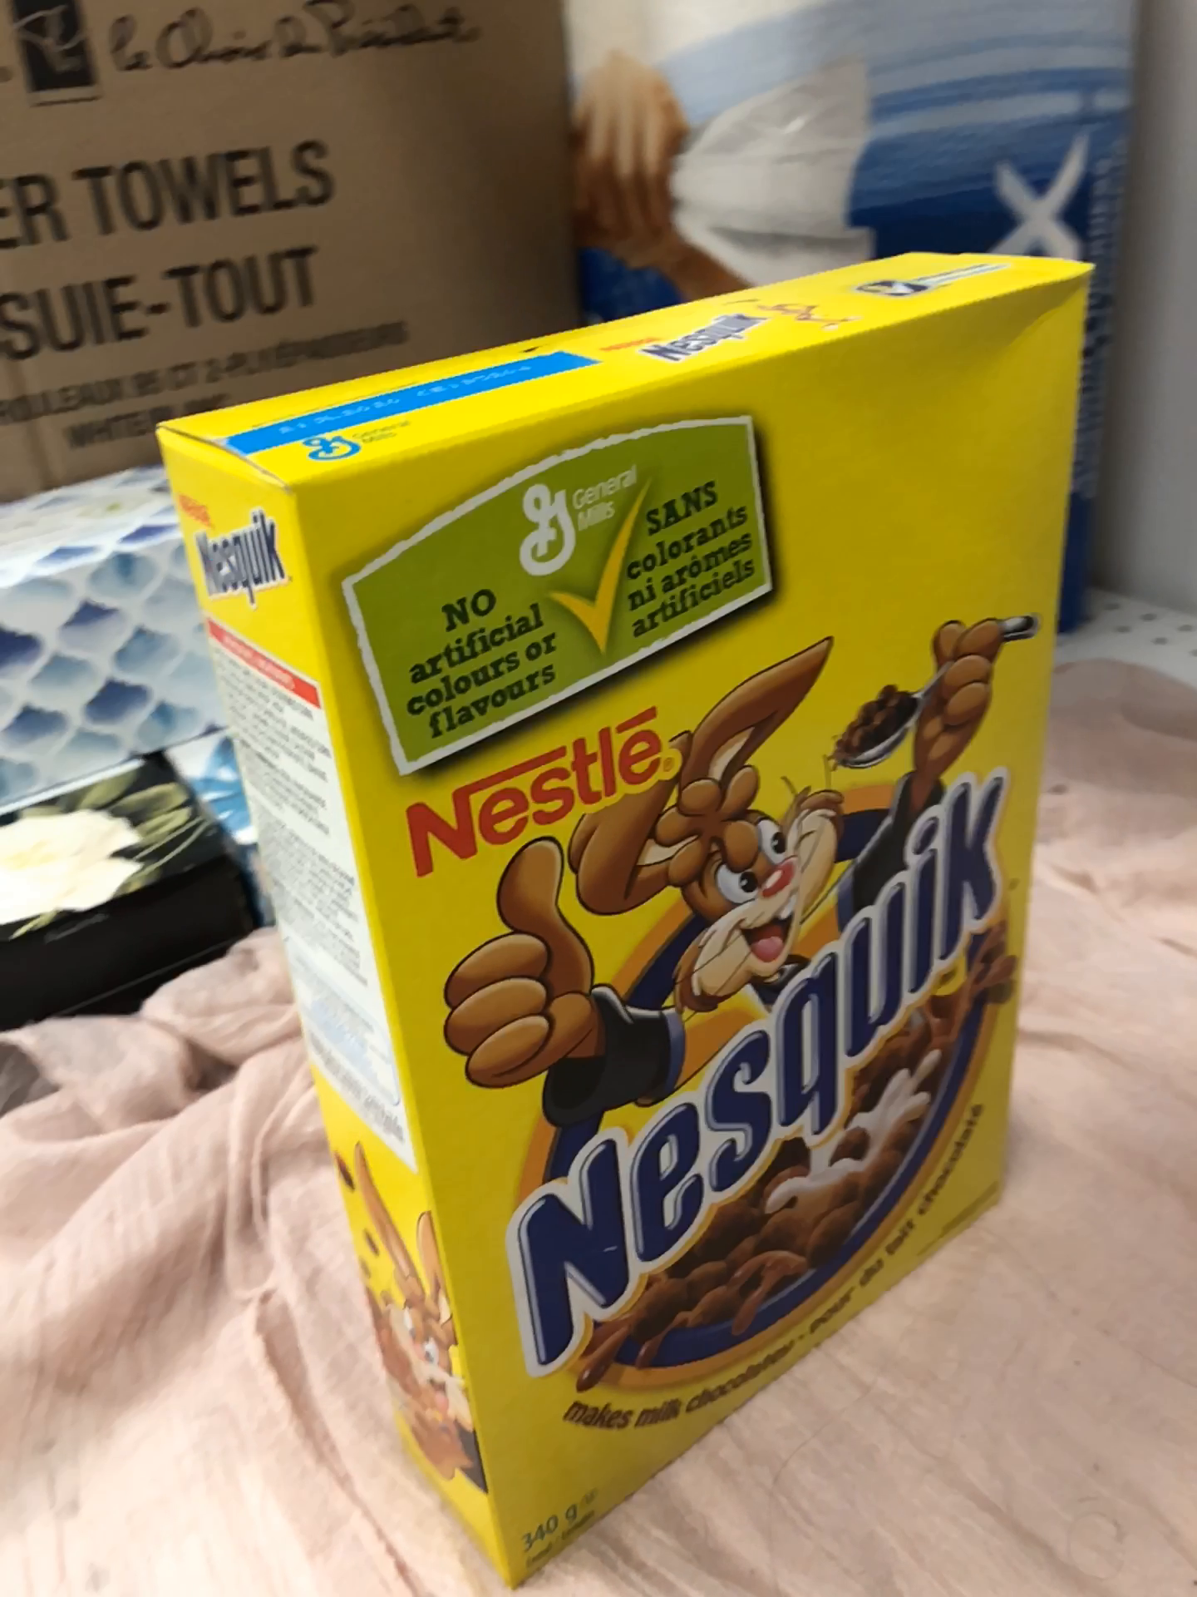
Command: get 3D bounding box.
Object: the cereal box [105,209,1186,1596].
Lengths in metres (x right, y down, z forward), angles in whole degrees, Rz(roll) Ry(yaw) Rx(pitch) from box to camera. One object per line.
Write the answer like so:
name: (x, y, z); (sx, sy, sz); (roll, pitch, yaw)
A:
cereal box: (0.030, 0.022, 0.306); (0.200, 0.259, 0.060); (-24, 36, -29)
